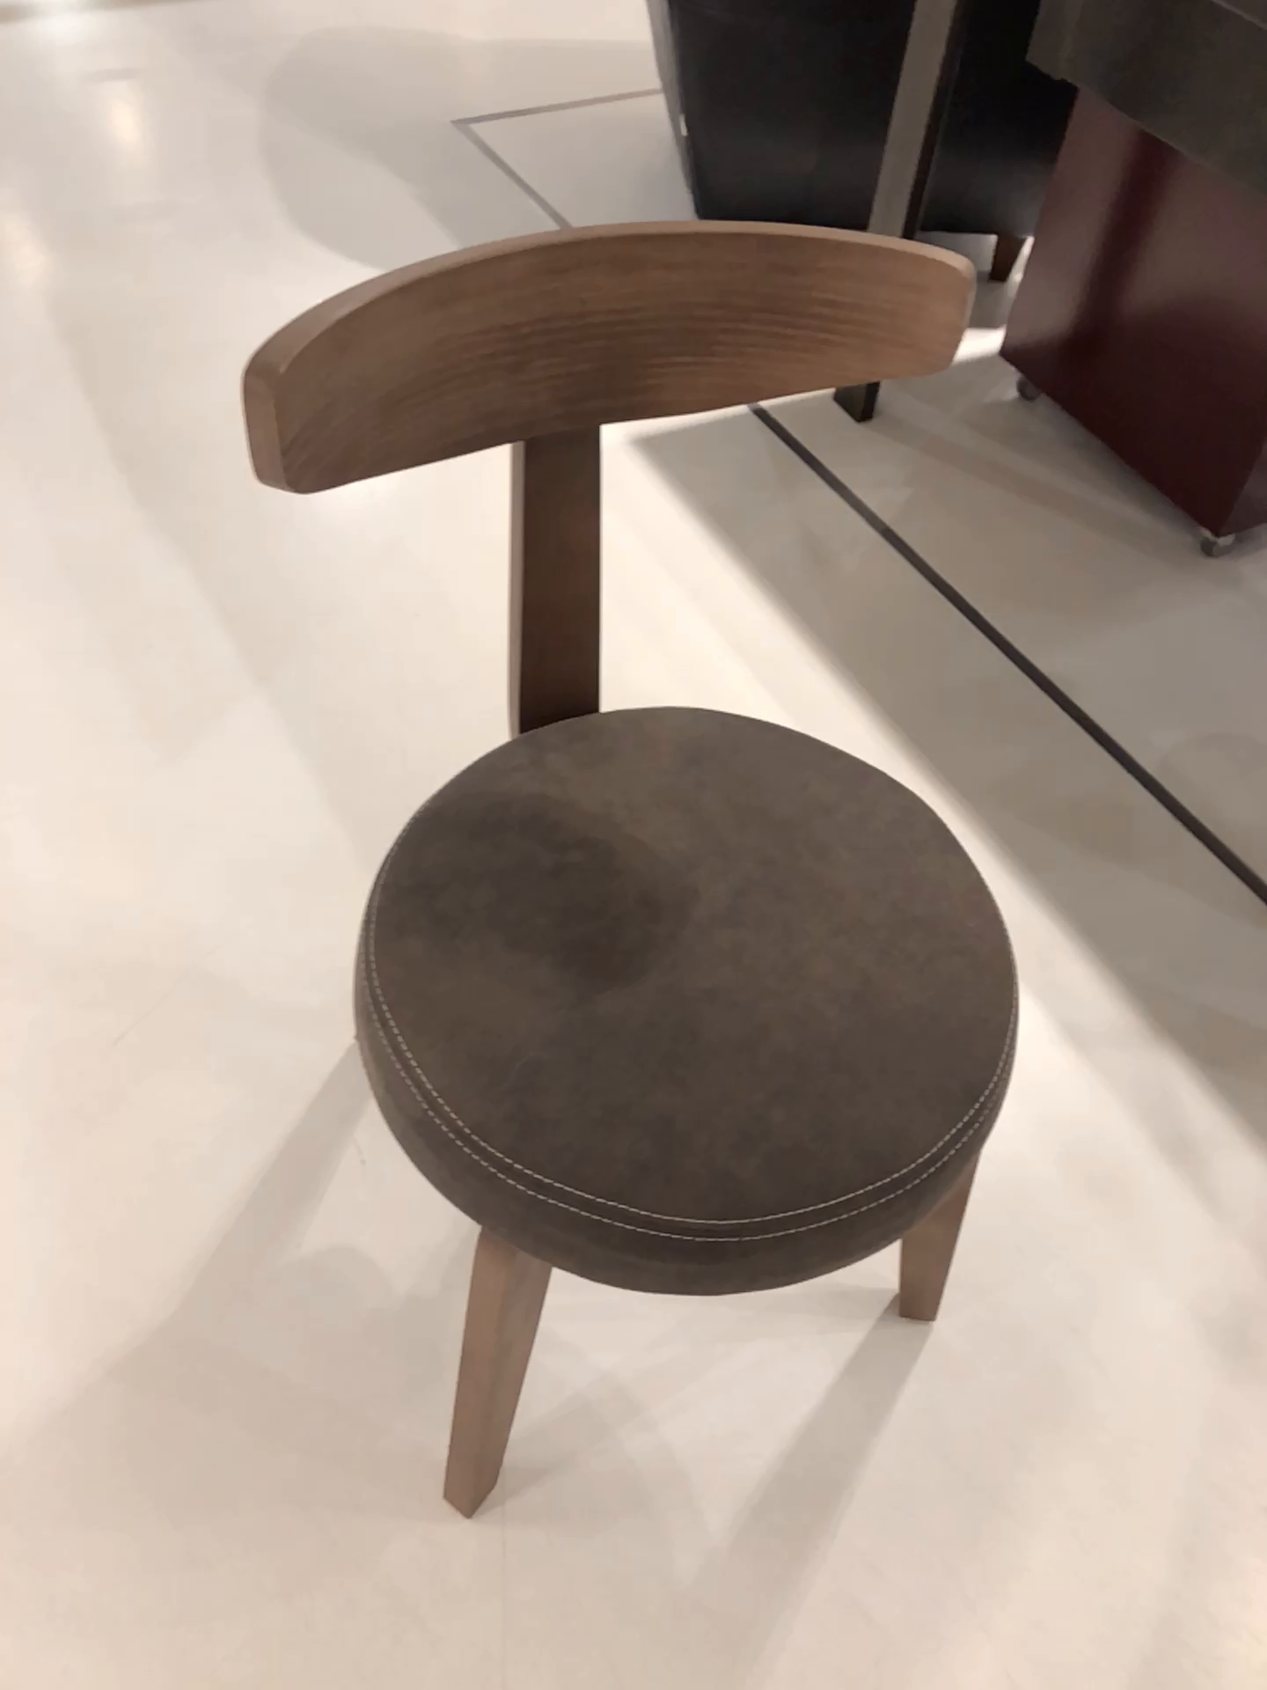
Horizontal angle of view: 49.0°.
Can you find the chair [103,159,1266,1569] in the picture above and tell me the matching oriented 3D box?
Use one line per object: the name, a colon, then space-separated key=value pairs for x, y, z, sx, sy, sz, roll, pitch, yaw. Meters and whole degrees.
chair: x=0.013 y=0.037 z=0.922 sx=0.471 sy=0.705 sz=0.492 roll=-16 pitch=53 yaw=-19
